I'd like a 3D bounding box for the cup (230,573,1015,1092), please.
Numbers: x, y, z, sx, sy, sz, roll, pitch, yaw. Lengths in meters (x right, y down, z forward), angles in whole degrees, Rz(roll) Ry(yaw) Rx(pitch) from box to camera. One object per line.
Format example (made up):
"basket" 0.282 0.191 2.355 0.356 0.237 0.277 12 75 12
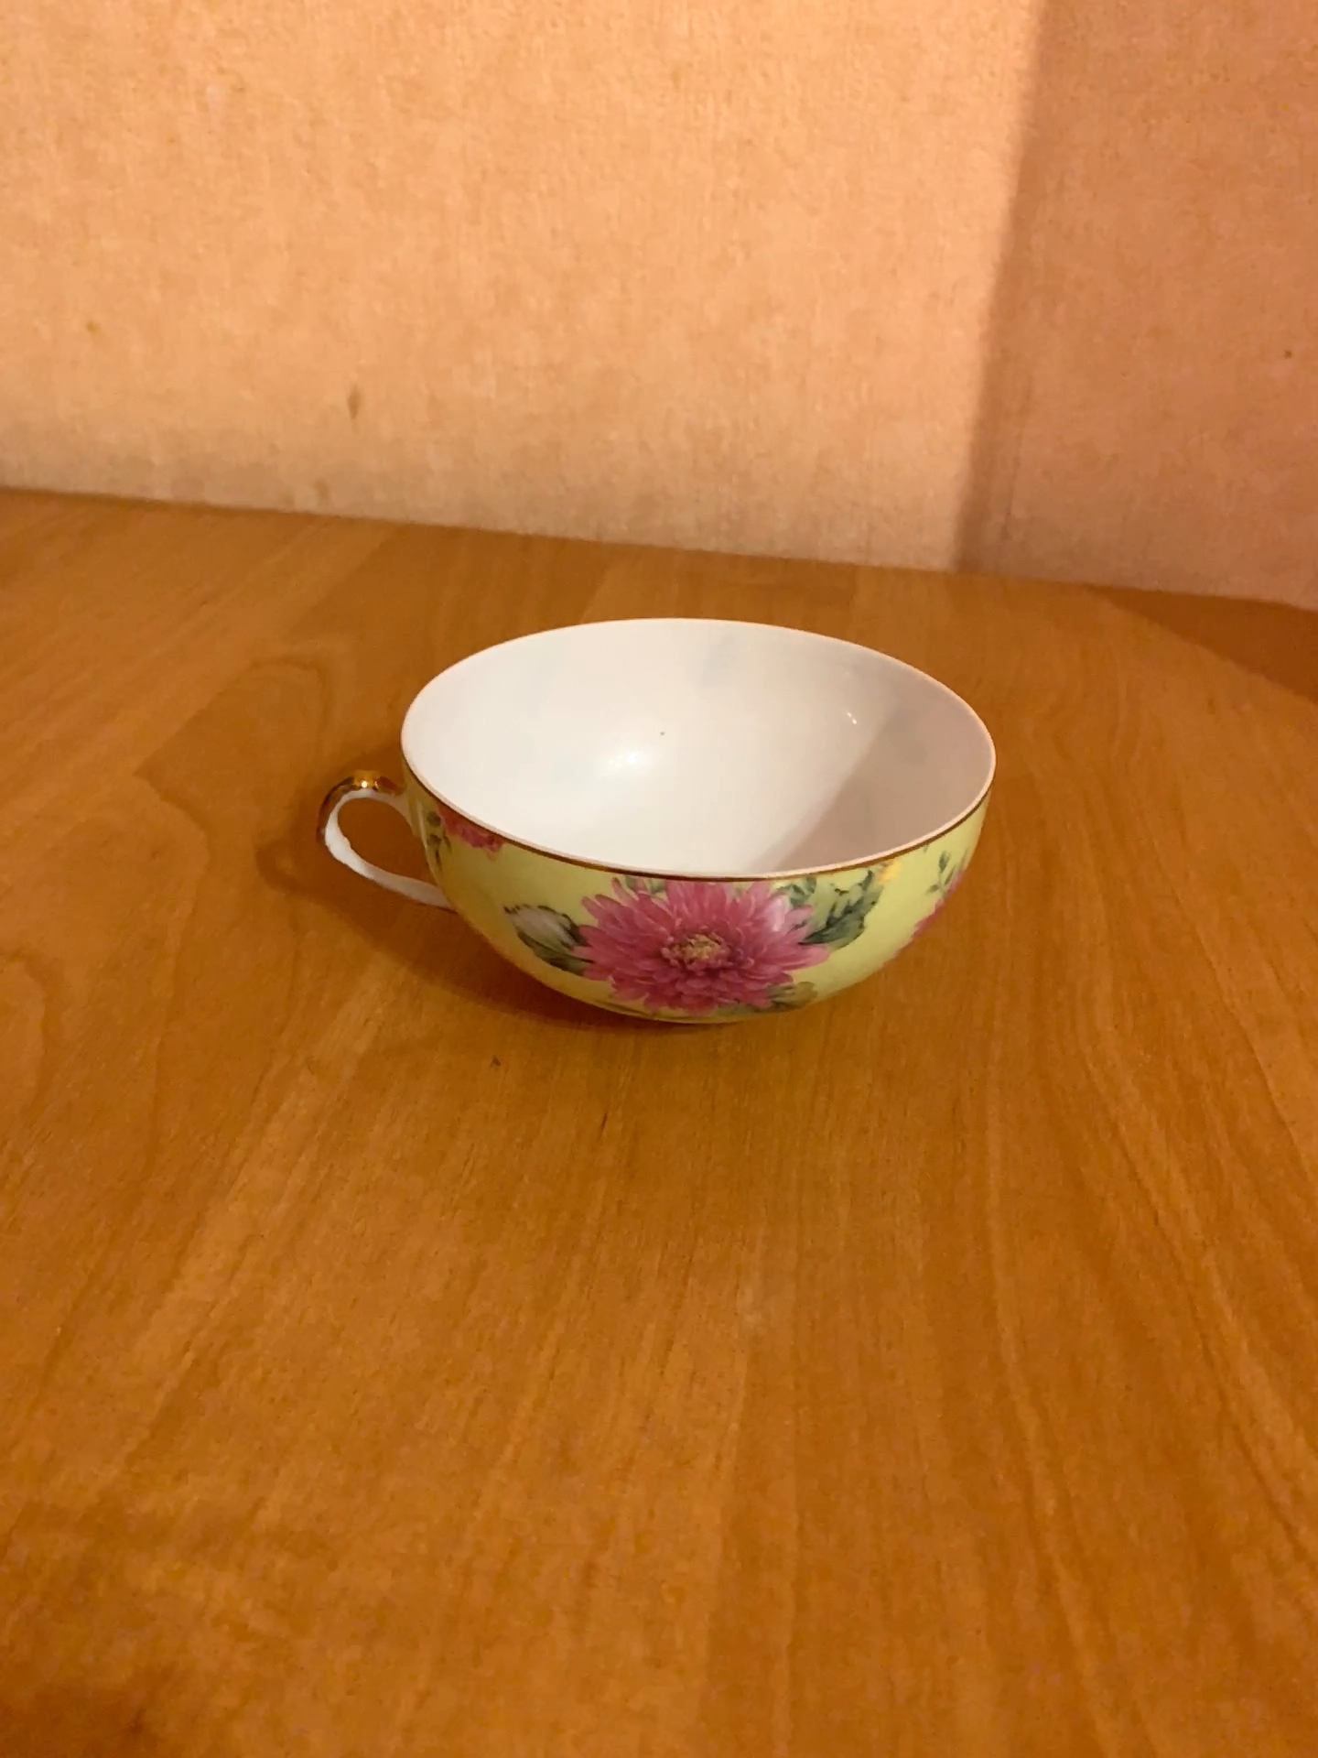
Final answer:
"cup" -0.001 -0.014 0.238 0.113 0.045 0.079 7 31 7
